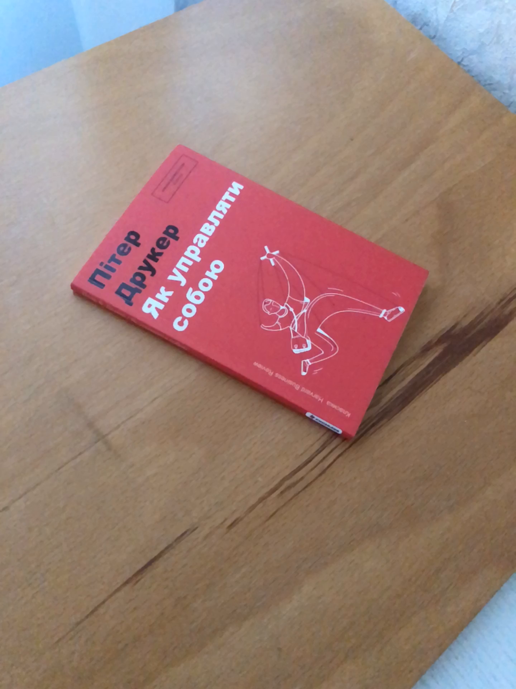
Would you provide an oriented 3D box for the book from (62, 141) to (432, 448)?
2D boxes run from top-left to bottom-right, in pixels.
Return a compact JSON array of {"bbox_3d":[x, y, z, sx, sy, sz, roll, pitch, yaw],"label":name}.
[{"bbox_3d":[-0.002,-0.034,0.309,0.164,0.013,0.112,28,67,6],"label":"book"}]
